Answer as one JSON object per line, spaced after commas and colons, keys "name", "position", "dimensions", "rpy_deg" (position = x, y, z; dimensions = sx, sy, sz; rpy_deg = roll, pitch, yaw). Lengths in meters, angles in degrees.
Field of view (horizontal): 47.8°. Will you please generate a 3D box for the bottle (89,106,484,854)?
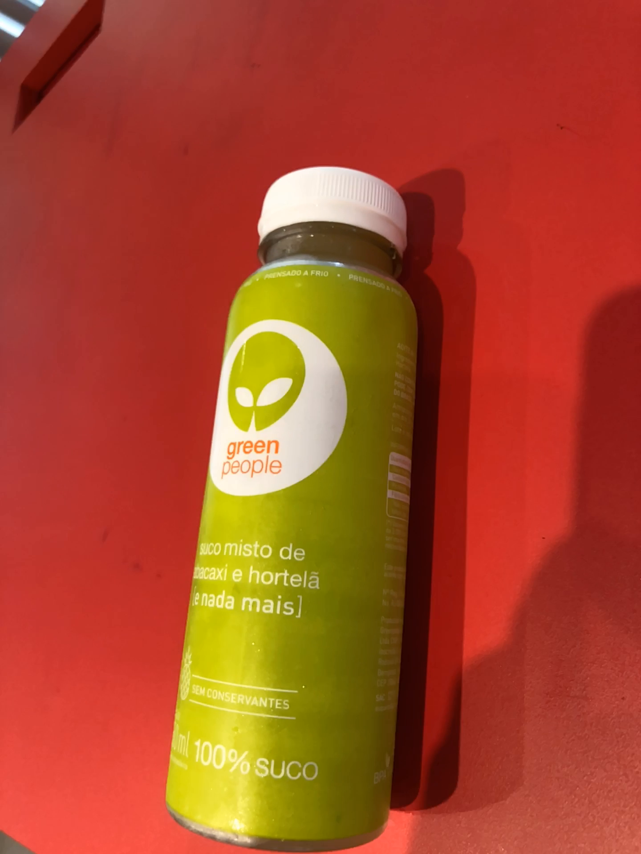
{"name": "bottle", "position": [-0.005, 0.023, 0.172], "dimensions": [0.060, 0.050, 0.170], "rpy_deg": [1, 82, 35]}
